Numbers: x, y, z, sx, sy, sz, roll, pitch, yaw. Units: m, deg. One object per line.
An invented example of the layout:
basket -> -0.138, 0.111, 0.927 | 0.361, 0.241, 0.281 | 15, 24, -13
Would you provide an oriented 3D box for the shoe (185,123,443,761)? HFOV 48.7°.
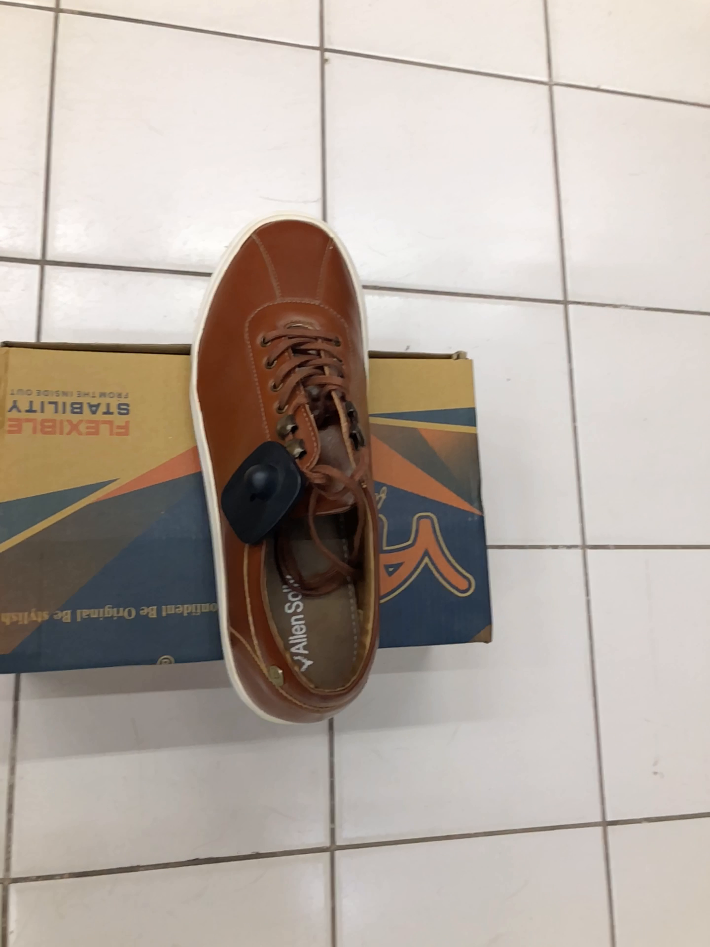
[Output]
shoe -> -0.031, -0.014, 0.401 | 0.100, 0.110, 0.280 | -1, 80, -14
